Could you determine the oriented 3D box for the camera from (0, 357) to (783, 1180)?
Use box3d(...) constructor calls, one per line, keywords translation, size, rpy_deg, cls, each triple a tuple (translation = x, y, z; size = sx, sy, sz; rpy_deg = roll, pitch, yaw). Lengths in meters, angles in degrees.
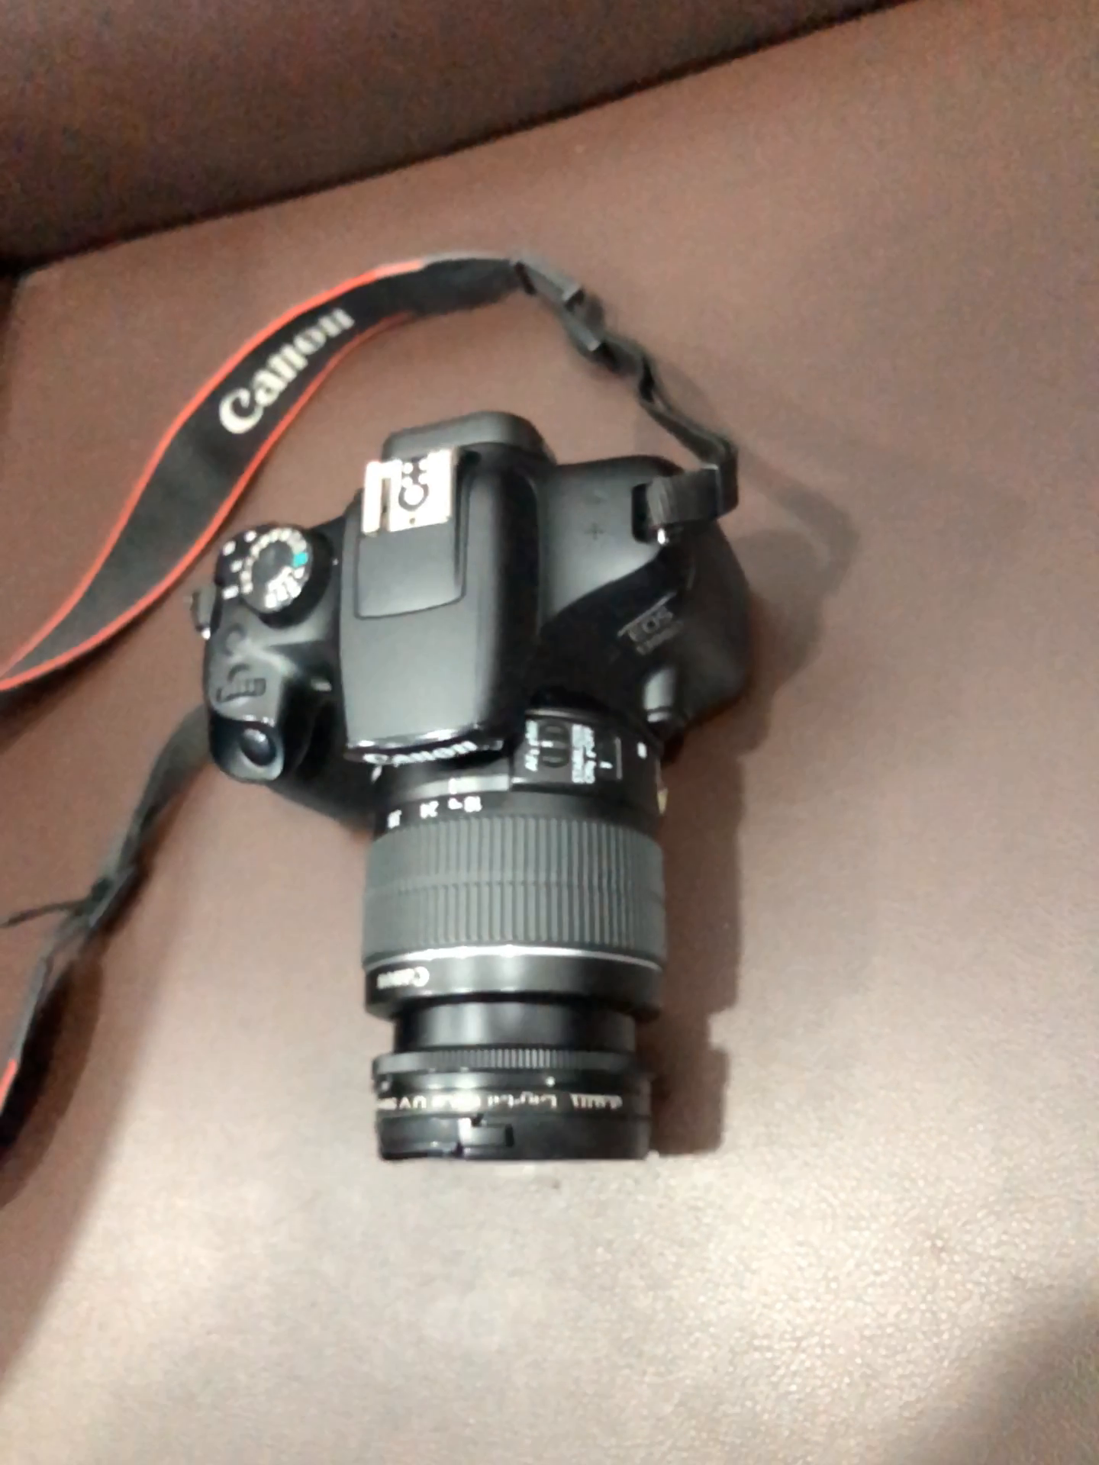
box3d(translation=(-0.027, 0.018, 0.266), size=(0.130, 0.090, 0.140), rpy_deg=(-7, 67, 22), cls="camera")
